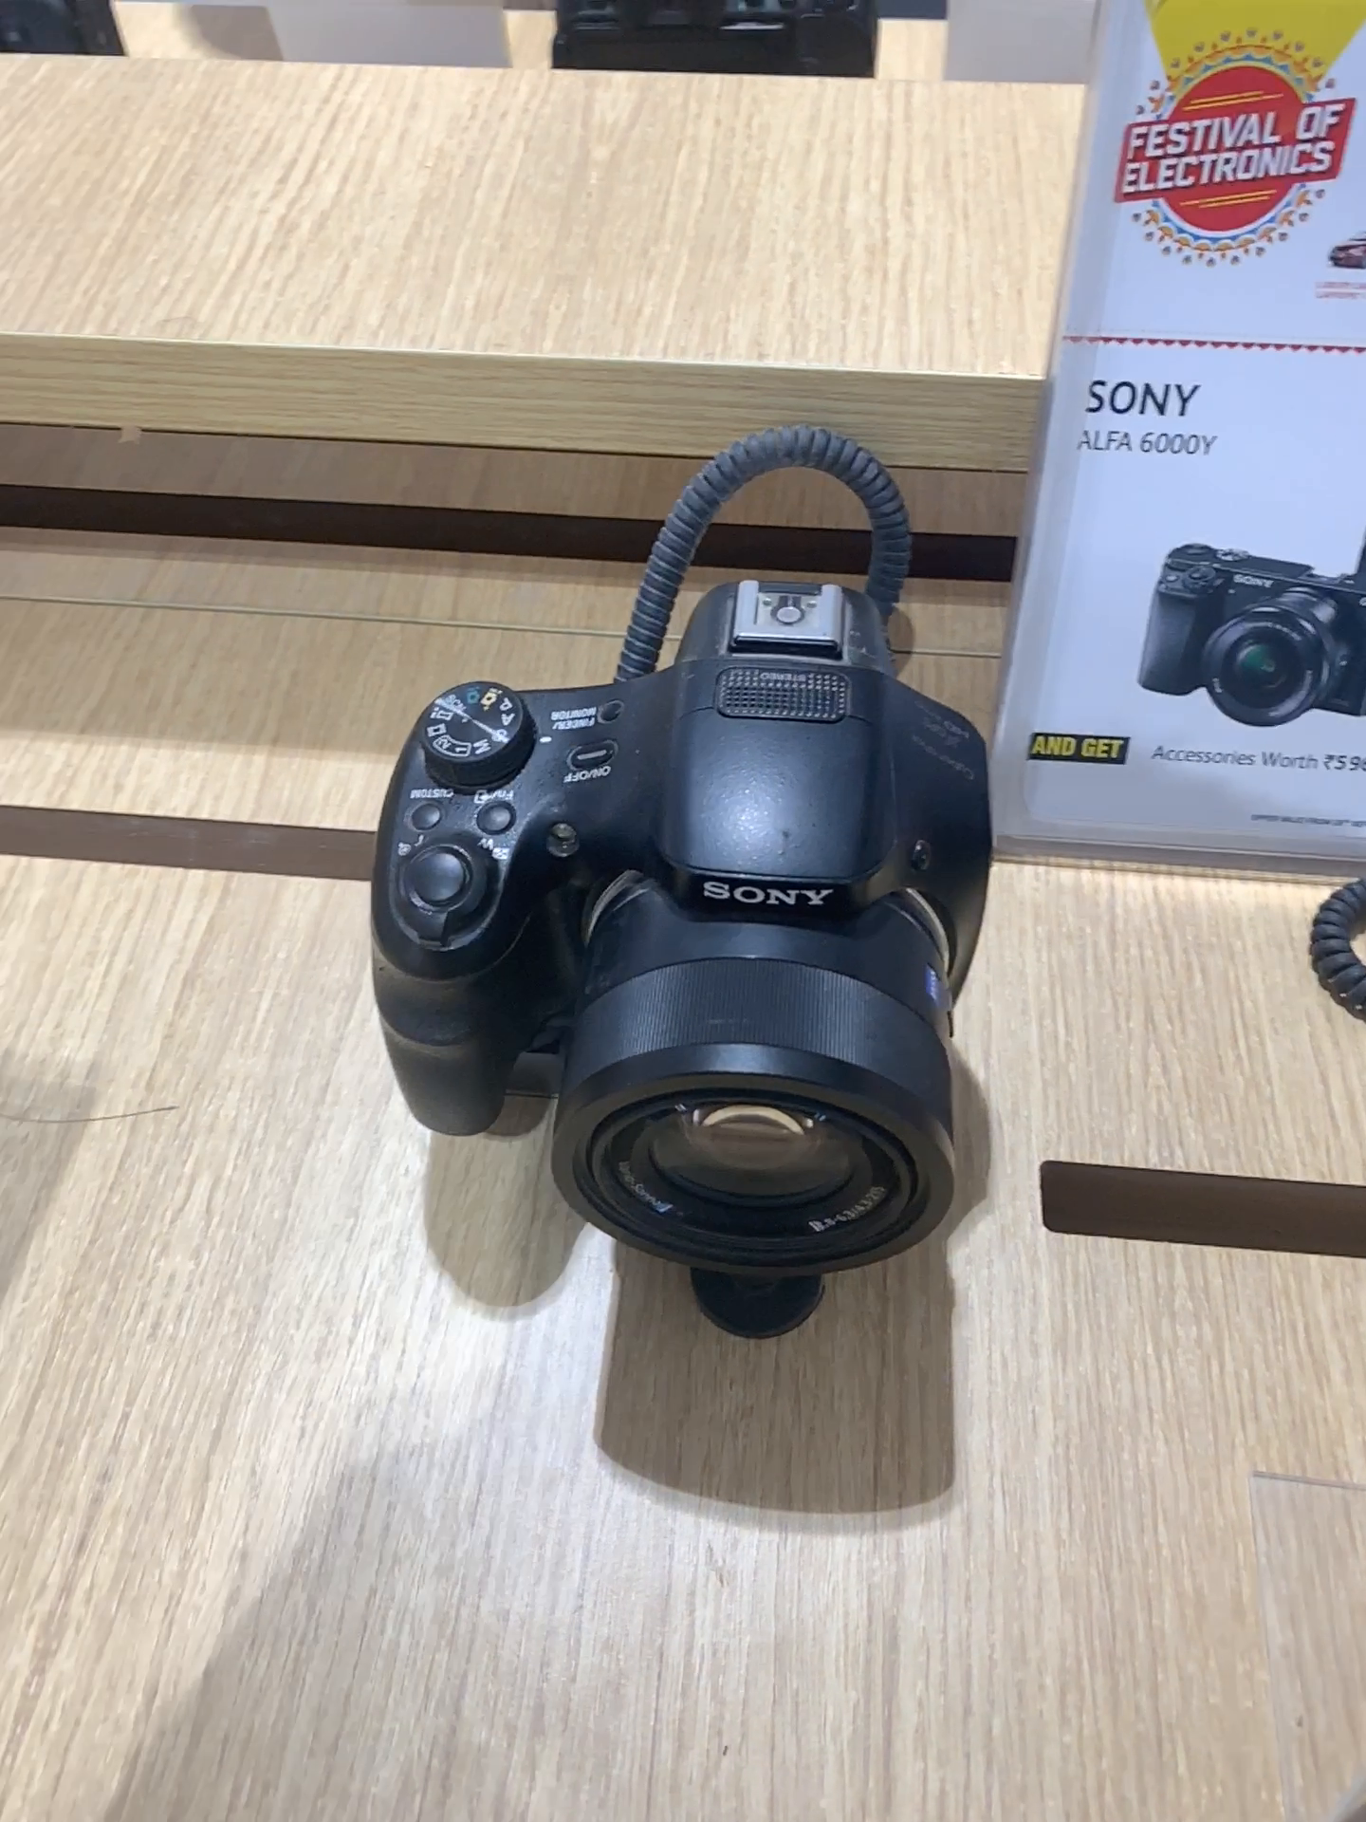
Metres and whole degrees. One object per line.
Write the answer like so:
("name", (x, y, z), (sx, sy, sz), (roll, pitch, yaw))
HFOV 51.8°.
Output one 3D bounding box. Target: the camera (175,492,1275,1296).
("camera", (0.008, -0.001, 0.246), (0.140, 0.100, 0.090), (3, 52, 3))
